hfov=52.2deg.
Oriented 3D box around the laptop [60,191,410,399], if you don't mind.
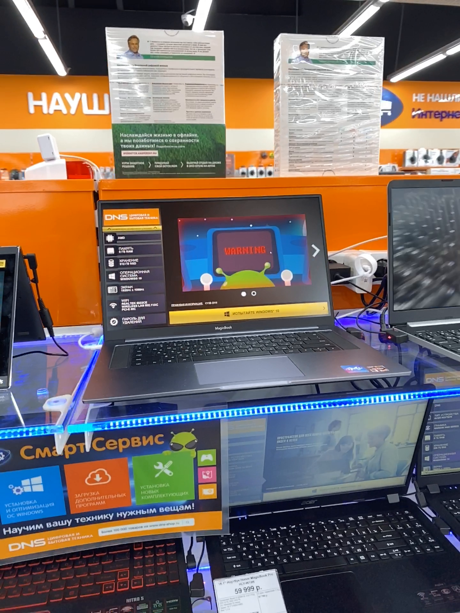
[{"bbox_3d":[-0.006,-0.048,0.655,0.368,0.207,0.315,-3,12,-9],"label":"laptop"}]
